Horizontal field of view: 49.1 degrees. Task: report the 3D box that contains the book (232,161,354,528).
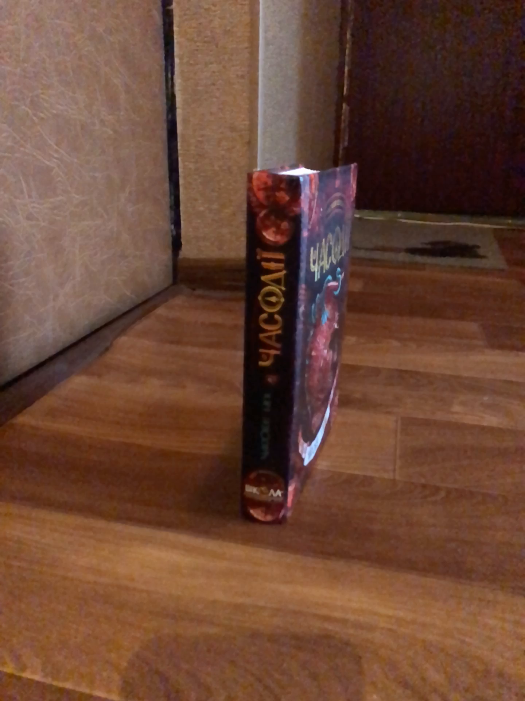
[{"bbox_3d":[0.026,-0.019,0.417,0.040,0.220,0.171,7,20,16],"label":"book"}]
